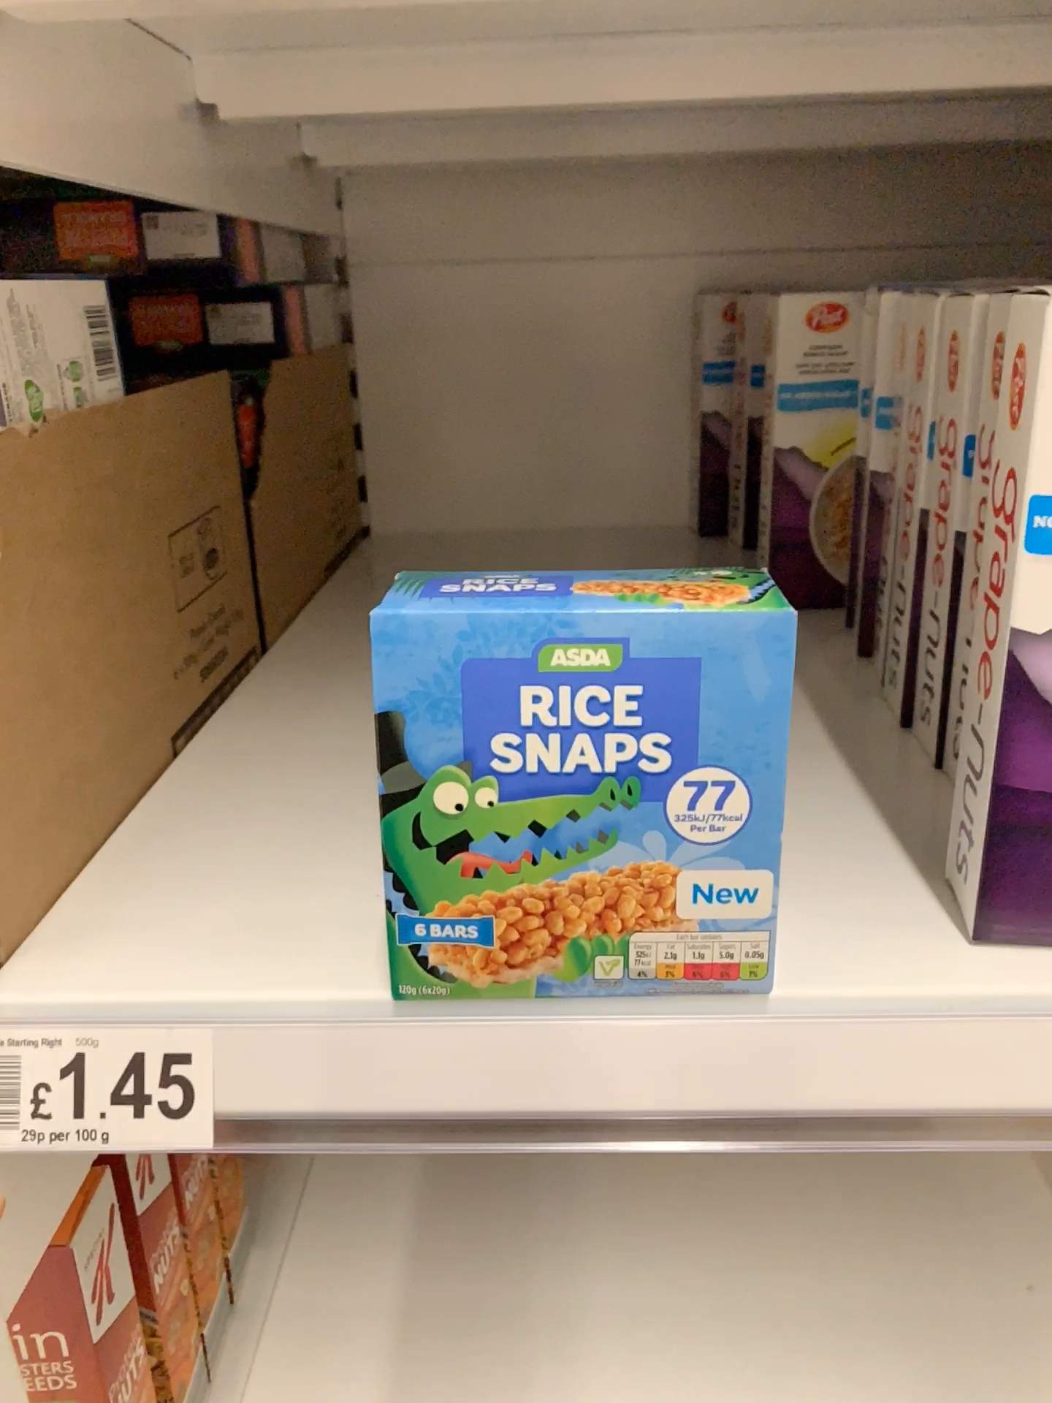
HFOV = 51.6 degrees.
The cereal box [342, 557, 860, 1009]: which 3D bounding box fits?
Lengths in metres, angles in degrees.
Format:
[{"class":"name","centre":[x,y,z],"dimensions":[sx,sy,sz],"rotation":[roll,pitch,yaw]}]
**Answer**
[{"class":"cereal box","centre":[0.021,0.025,0.340],"dimensions":[0.140,0.129,0.050],"rotation":[-1,20,0]}]
